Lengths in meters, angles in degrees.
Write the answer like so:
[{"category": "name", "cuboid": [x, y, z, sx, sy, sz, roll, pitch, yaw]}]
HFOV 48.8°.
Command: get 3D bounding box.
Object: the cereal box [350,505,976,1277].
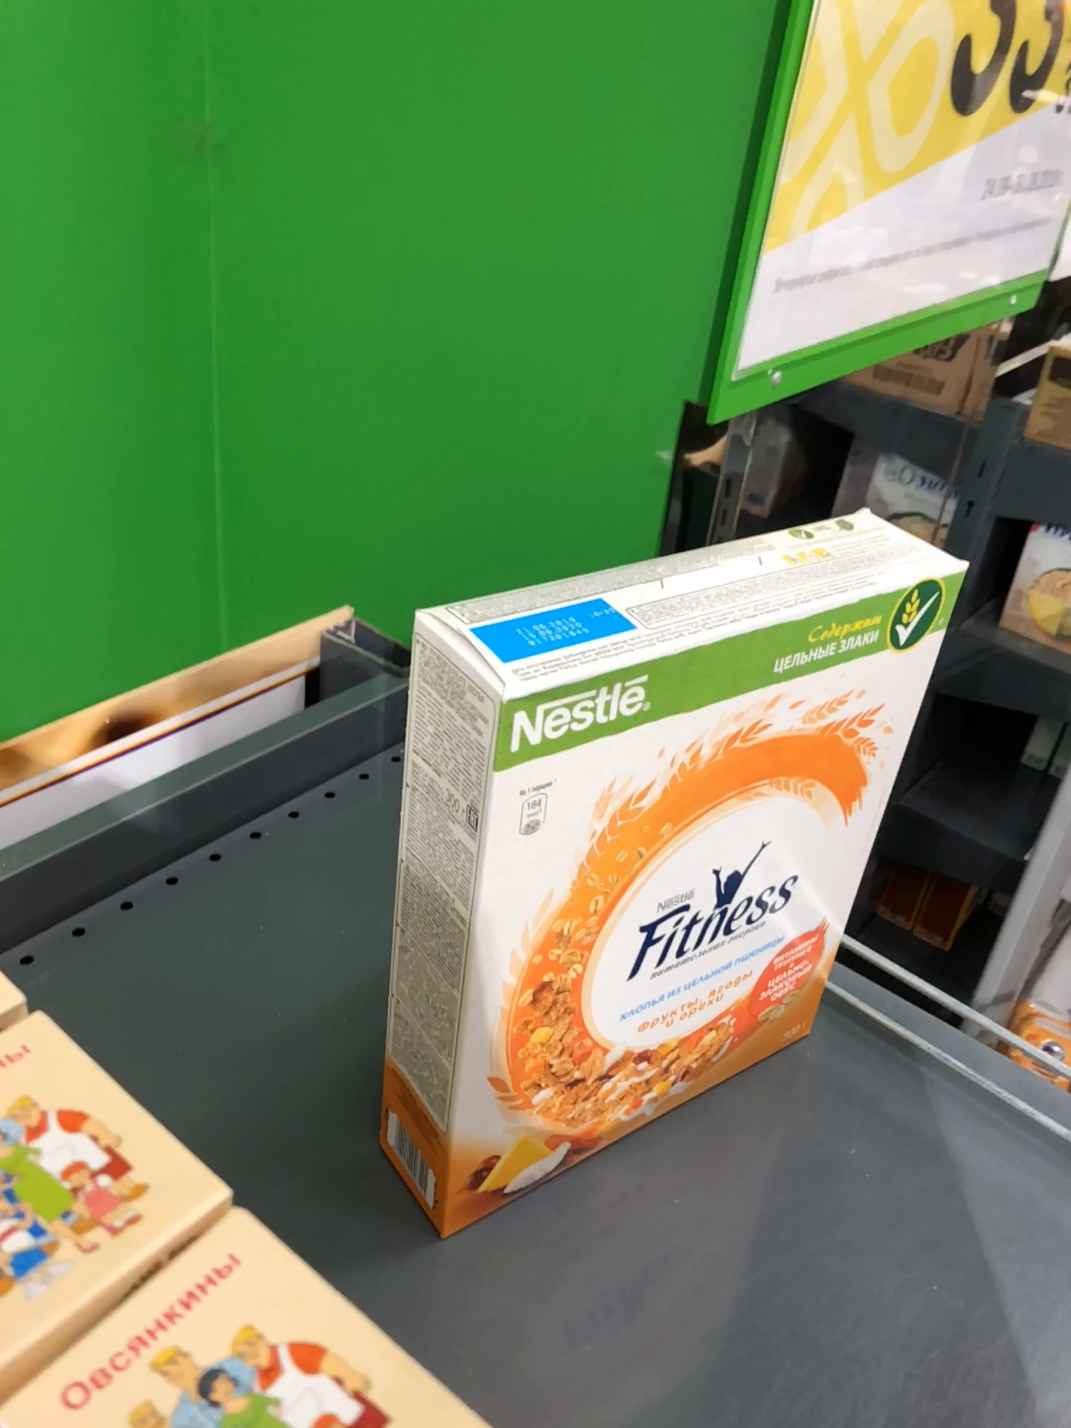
[{"category": "cereal box", "cuboid": [0.039, 0.061, 0.431, 0.201, 0.239, 0.060, -16, 39, -33]}]
